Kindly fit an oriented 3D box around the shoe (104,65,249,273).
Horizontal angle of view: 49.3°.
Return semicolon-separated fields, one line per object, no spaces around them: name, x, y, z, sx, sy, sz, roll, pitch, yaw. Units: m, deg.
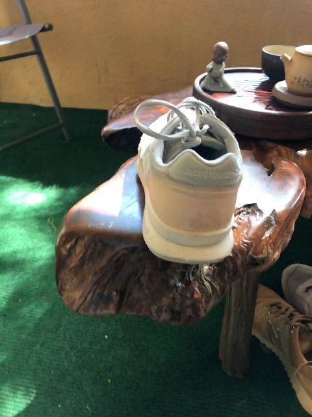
shoe;0.019;-0.066;0.370;0.102;0.090;0.265;3;39;1
